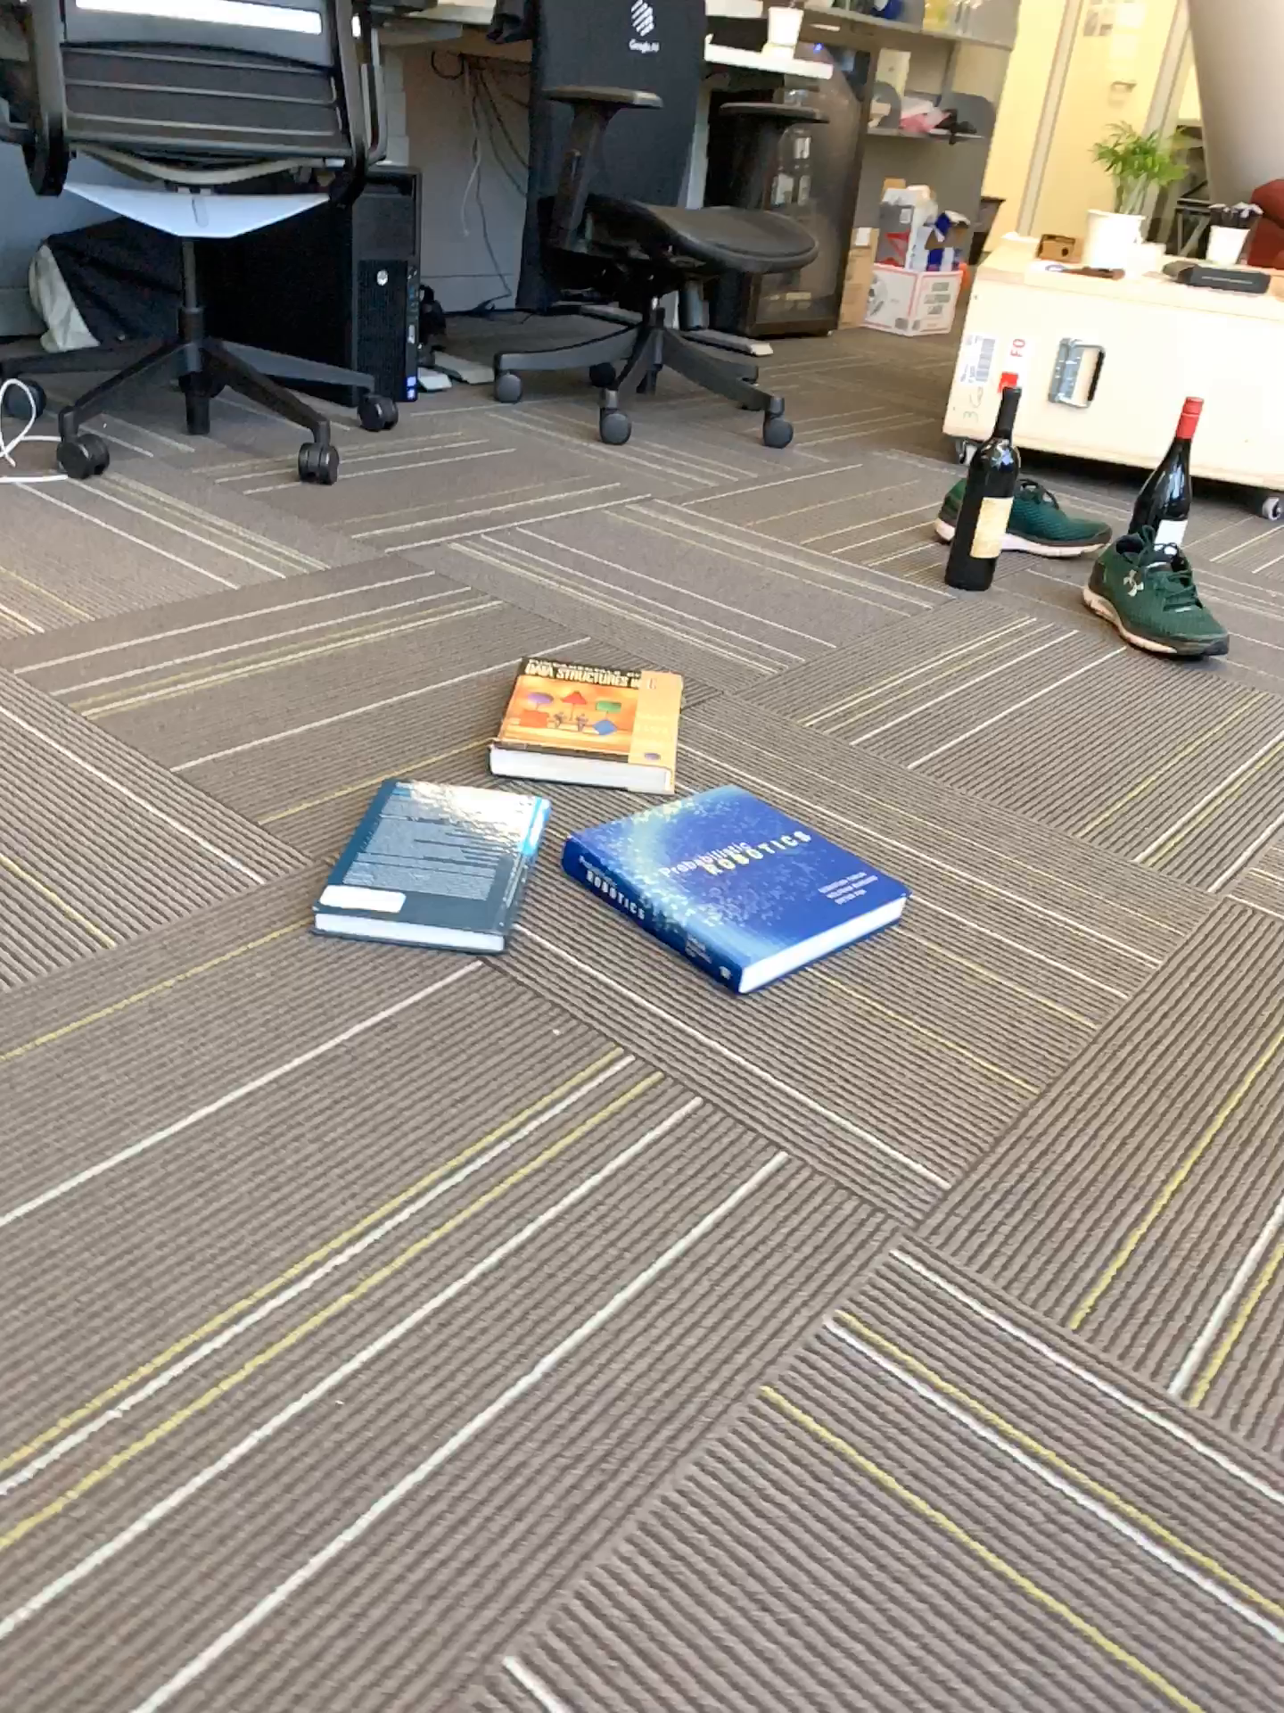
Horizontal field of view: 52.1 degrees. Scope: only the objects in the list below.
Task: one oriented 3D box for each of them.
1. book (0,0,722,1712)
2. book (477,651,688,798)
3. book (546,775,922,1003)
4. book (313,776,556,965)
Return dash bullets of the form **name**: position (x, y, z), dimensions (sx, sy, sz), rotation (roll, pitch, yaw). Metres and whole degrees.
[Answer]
- **book**: position (-0.056, -0.148, 1.417), dimensions (0.031, 1.491, 6.538), rotation (7, 30, 0)
- **book**: position (-0.056, -0.148, 1.417), dimensions (0.200, 0.030, 0.262), rotation (7, 30, 0)
- **book**: position (0.078, 0.016, 1.144), dimensions (0.210, 0.030, 0.251), rotation (-20, 39, -38)
- **book**: position (-0.171, 0.005, 1.135), dimensions (0.160, 0.030, 0.231), rotation (8, 30, 1)
